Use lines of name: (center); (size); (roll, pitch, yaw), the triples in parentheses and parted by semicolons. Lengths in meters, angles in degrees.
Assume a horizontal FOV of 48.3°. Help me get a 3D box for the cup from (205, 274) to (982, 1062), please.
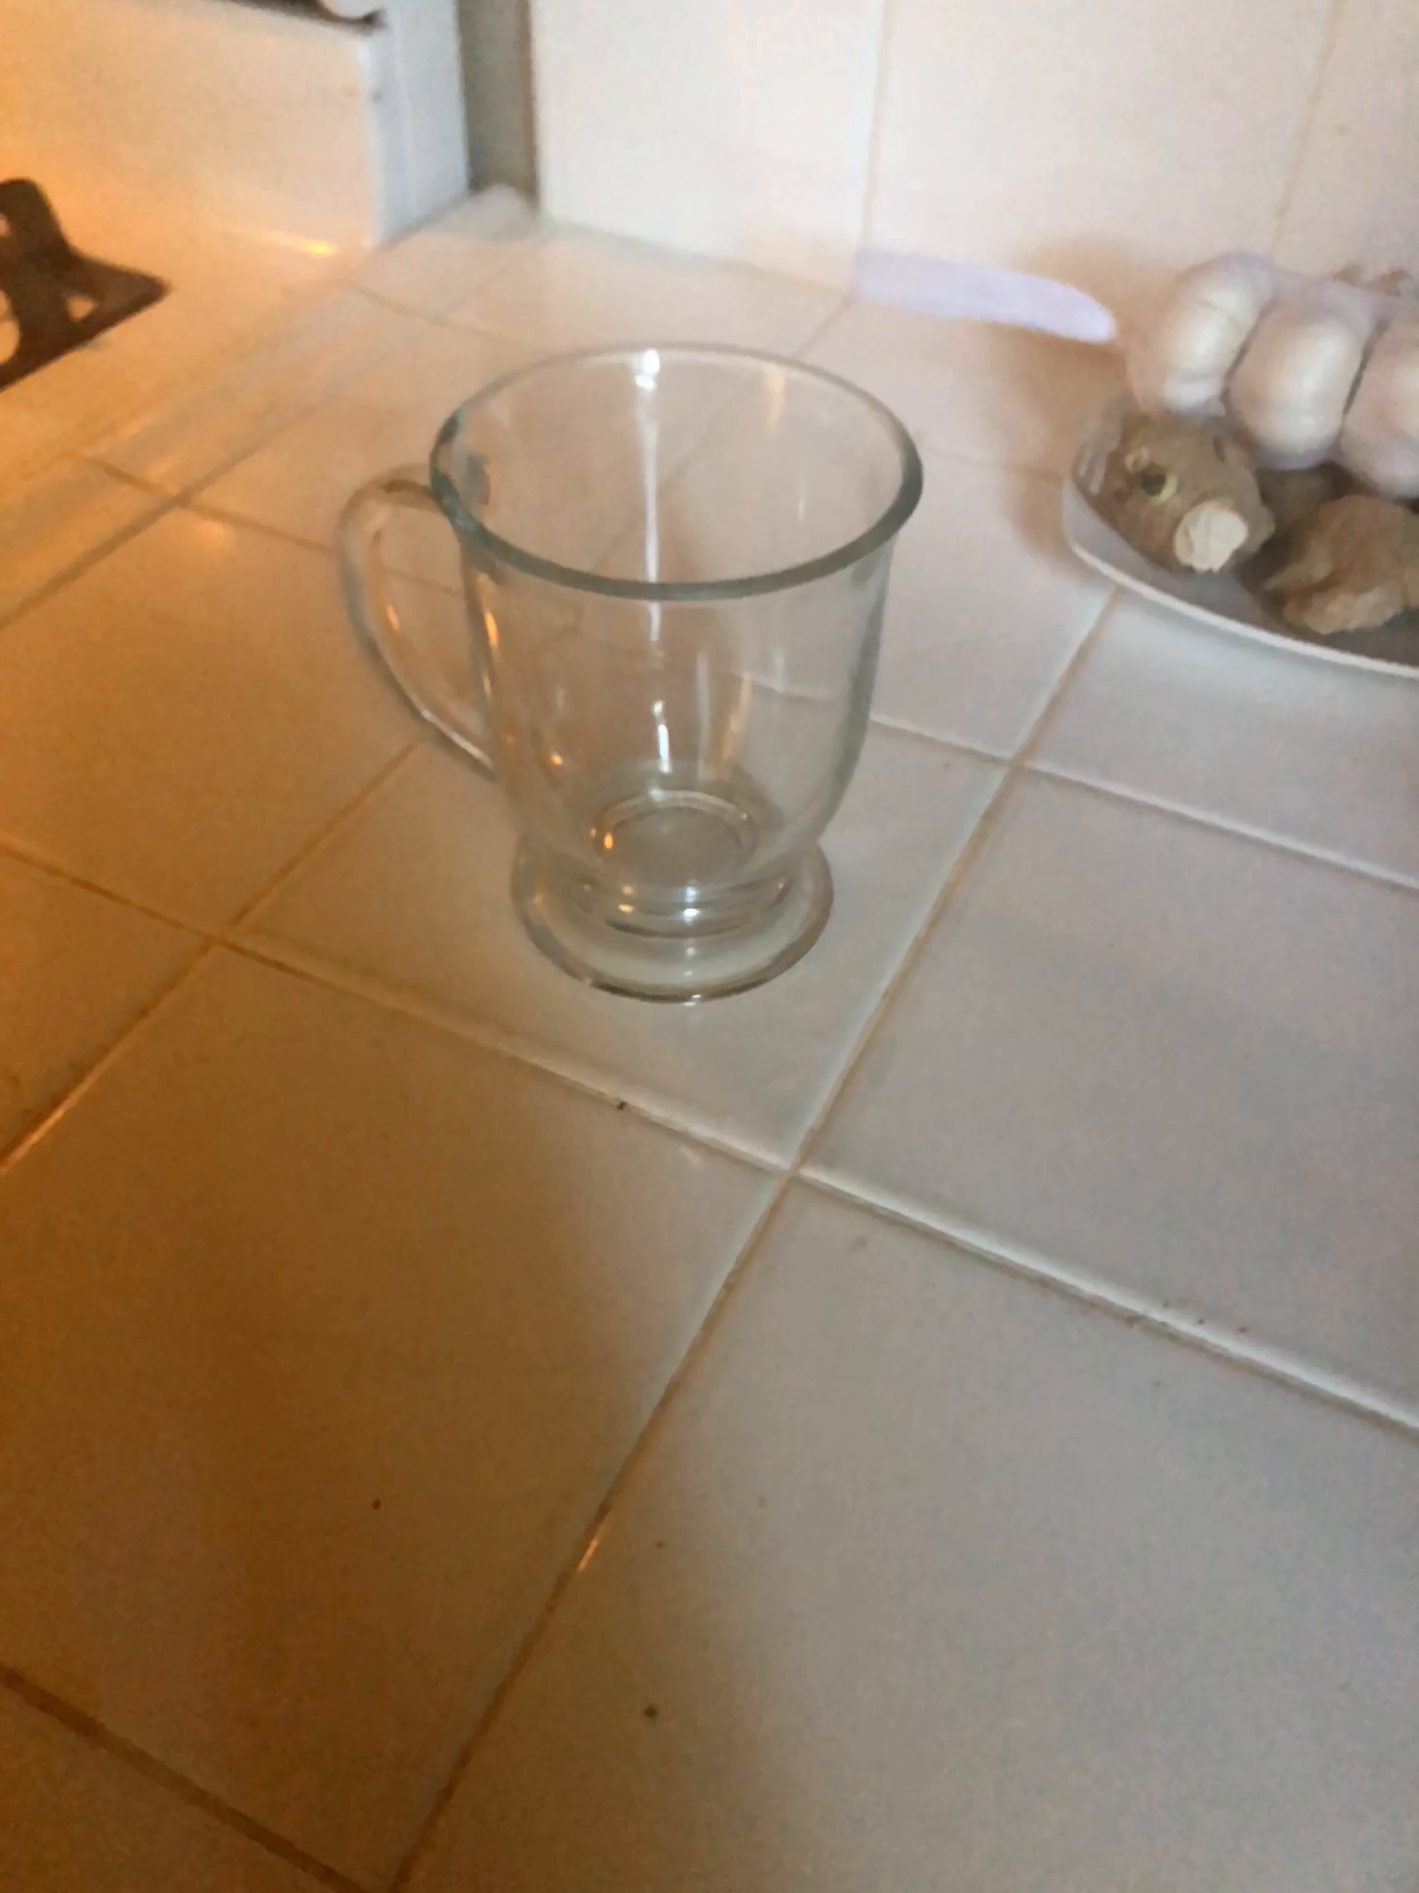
cup: (-0.020, -0.065, 0.367); (0.130, 0.119, 0.101); (15, 48, 12)
